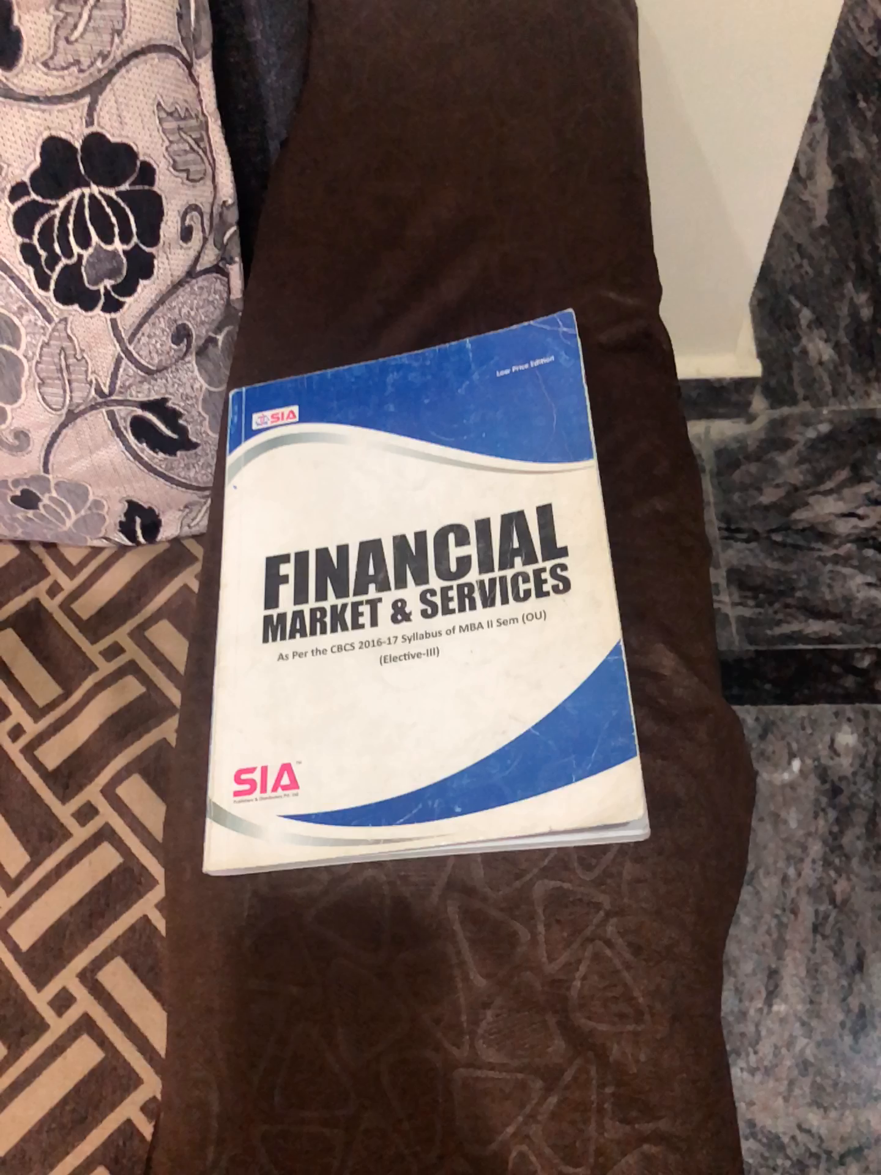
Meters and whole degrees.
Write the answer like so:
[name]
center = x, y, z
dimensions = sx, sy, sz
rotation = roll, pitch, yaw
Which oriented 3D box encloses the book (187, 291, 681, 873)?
[book]
center = -0.014, -0.016, 0.515
dimensions = 0.220, 0.040, 0.300
rotation = -6, 63, 2
